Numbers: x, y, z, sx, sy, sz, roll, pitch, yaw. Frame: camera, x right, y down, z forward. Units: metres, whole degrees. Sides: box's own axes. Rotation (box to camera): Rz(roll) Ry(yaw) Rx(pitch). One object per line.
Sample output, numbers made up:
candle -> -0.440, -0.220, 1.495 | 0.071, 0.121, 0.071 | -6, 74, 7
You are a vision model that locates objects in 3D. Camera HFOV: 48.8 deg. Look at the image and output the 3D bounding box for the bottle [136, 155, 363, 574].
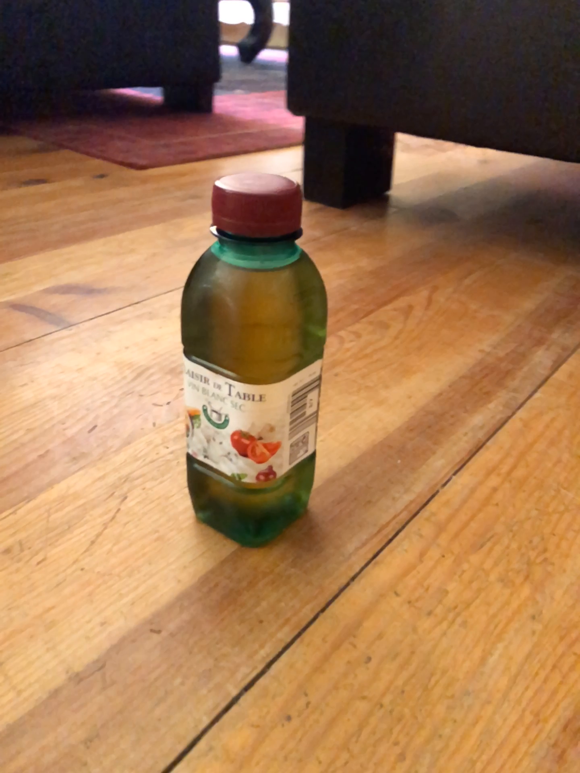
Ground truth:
bottle -> -0.017, -0.007, 0.257 | 0.060, 0.149, 0.050 | 24, 36, 30
